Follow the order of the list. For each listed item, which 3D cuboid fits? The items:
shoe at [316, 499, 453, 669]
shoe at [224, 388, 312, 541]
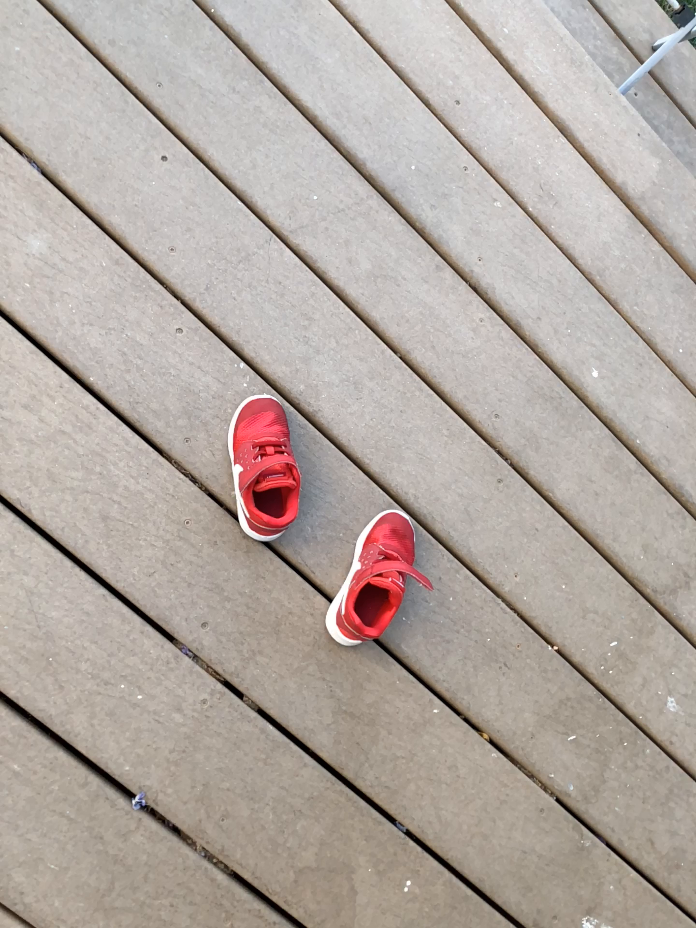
[{"bbox_3d":[0.040,0.130,0.841,0.069,0.069,0.164,31,73,-15],"label":"shoe"},{"bbox_3d":[-0.087,0.003,0.812,0.073,0.069,0.153,0,82,-21],"label":"shoe"}]
